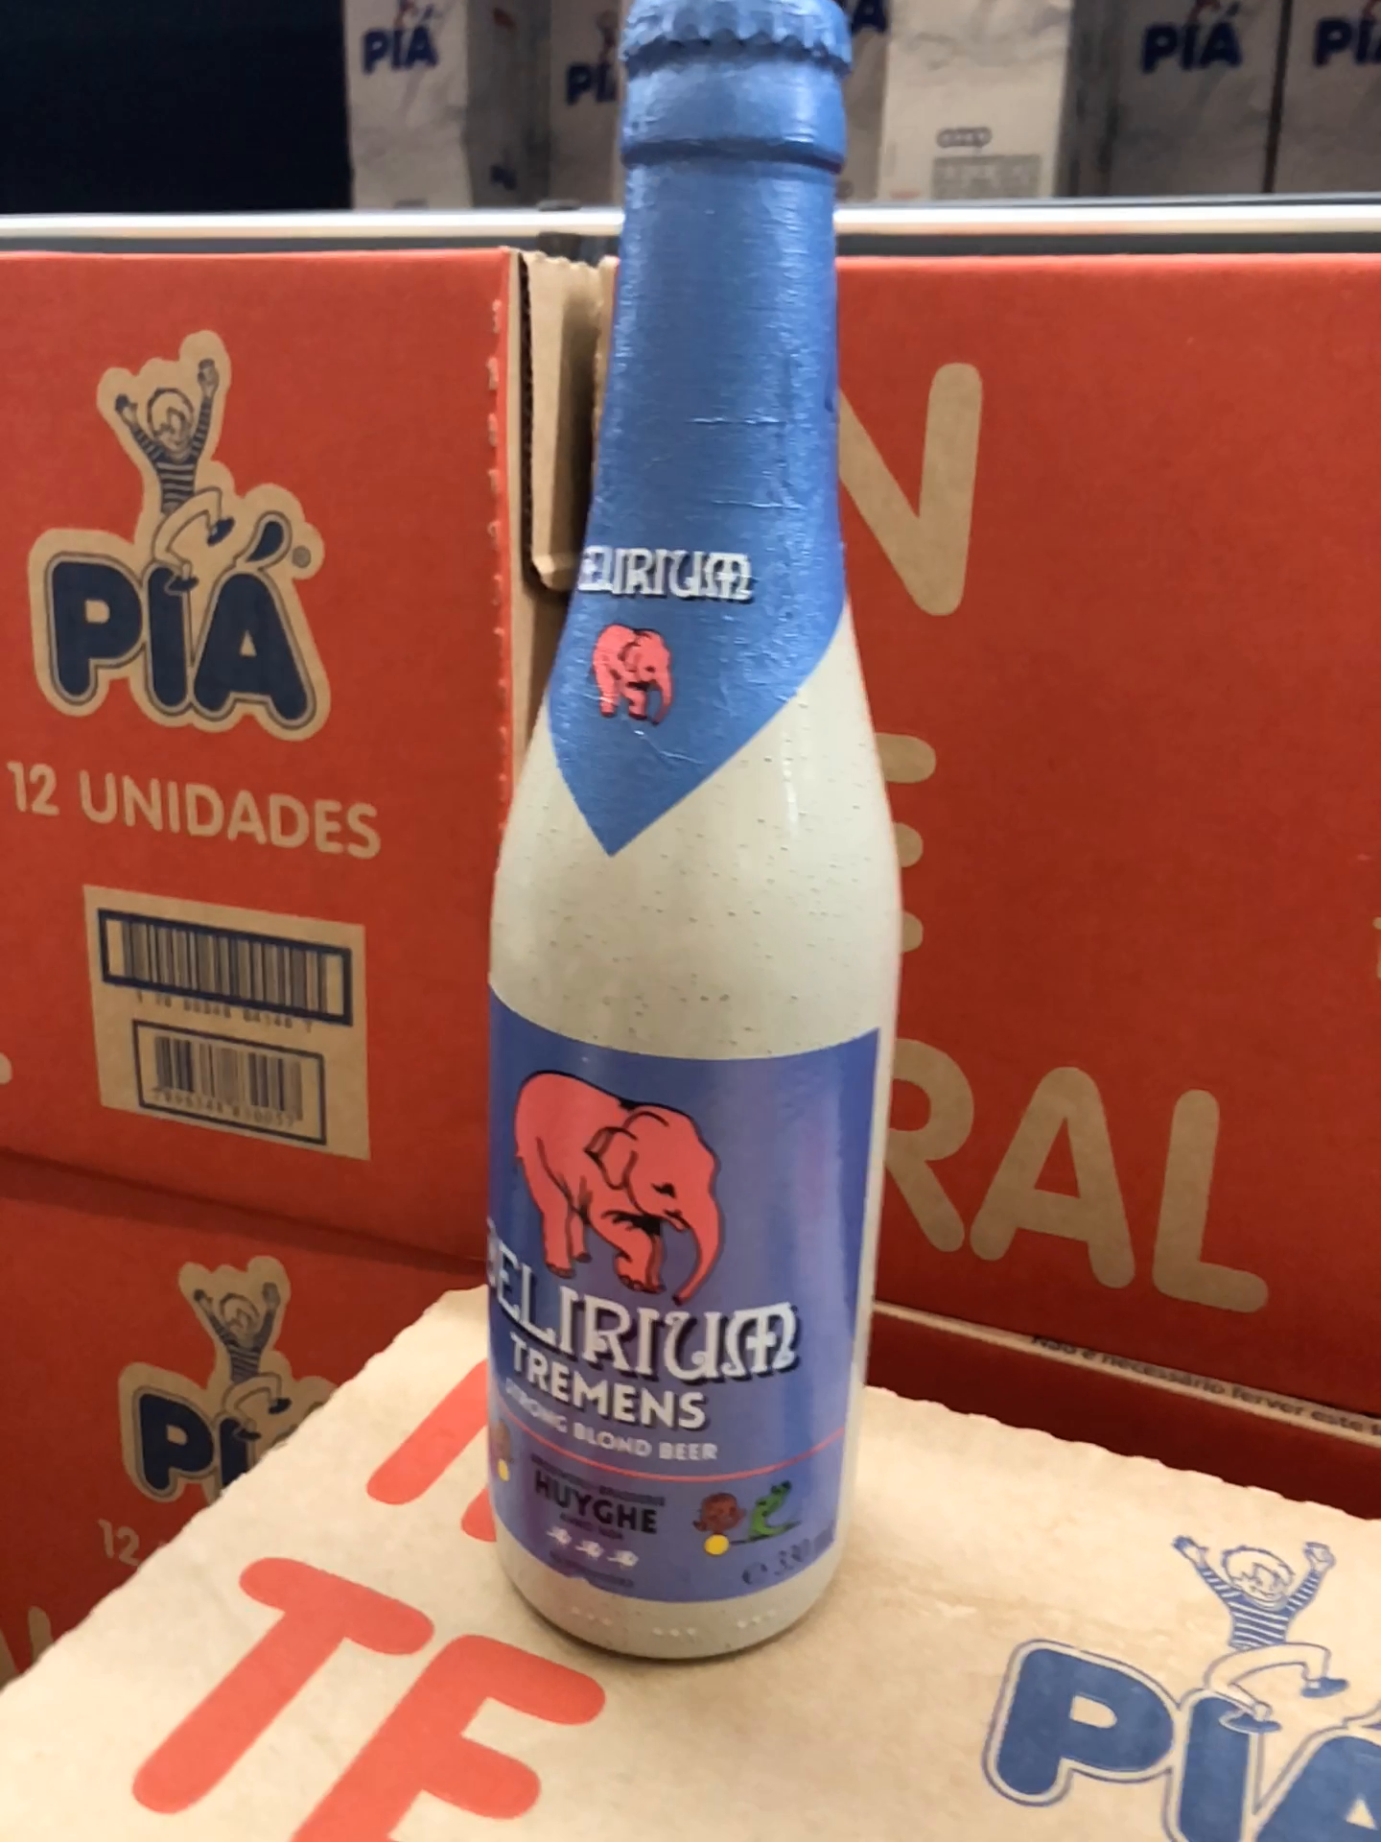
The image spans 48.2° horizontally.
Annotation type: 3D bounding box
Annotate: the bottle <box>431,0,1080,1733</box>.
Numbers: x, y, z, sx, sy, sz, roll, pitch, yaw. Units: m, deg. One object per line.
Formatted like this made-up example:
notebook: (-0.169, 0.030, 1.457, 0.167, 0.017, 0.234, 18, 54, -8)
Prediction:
bottle: (0.007, -0.007, 0.224, 0.060, 0.219, 0.060, 3, 13, -1)
